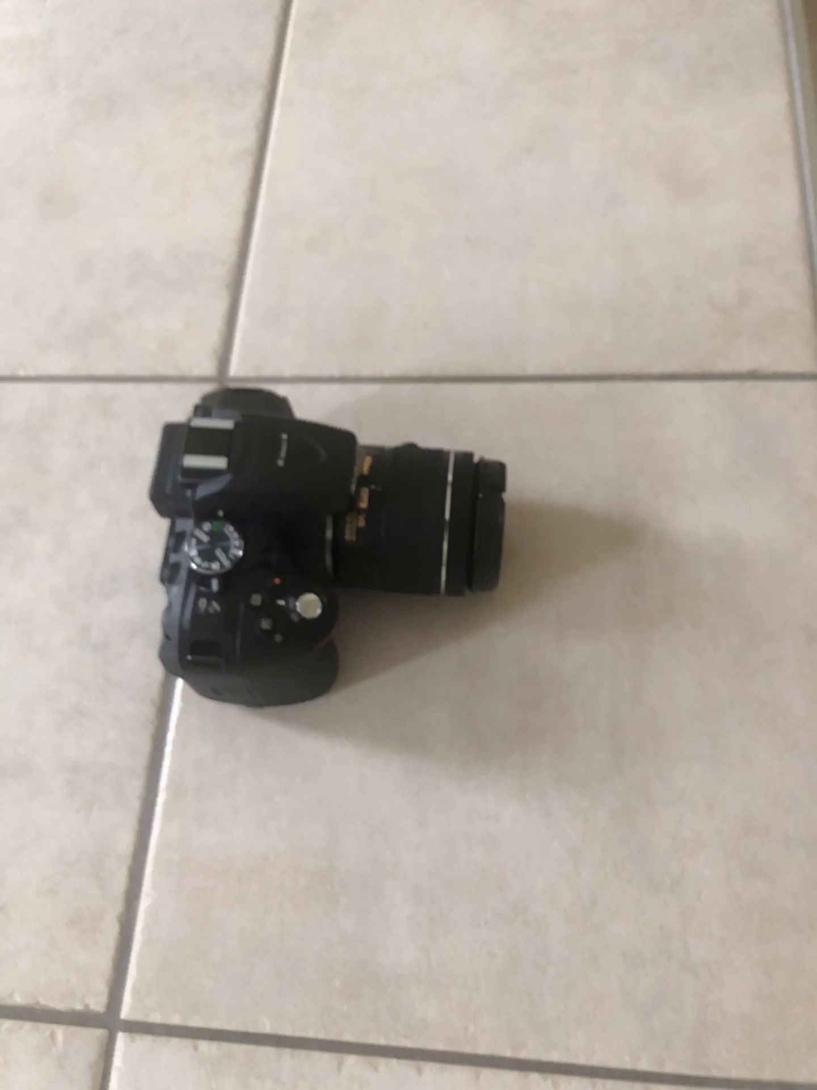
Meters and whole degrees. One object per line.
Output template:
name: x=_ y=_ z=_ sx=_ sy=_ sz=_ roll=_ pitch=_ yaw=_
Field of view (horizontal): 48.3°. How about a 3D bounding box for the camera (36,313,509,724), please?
camera: x=-0.043 y=-0.009 z=0.382 sx=0.160 sy=0.090 sz=0.140 roll=3 pitch=68 yaw=6
